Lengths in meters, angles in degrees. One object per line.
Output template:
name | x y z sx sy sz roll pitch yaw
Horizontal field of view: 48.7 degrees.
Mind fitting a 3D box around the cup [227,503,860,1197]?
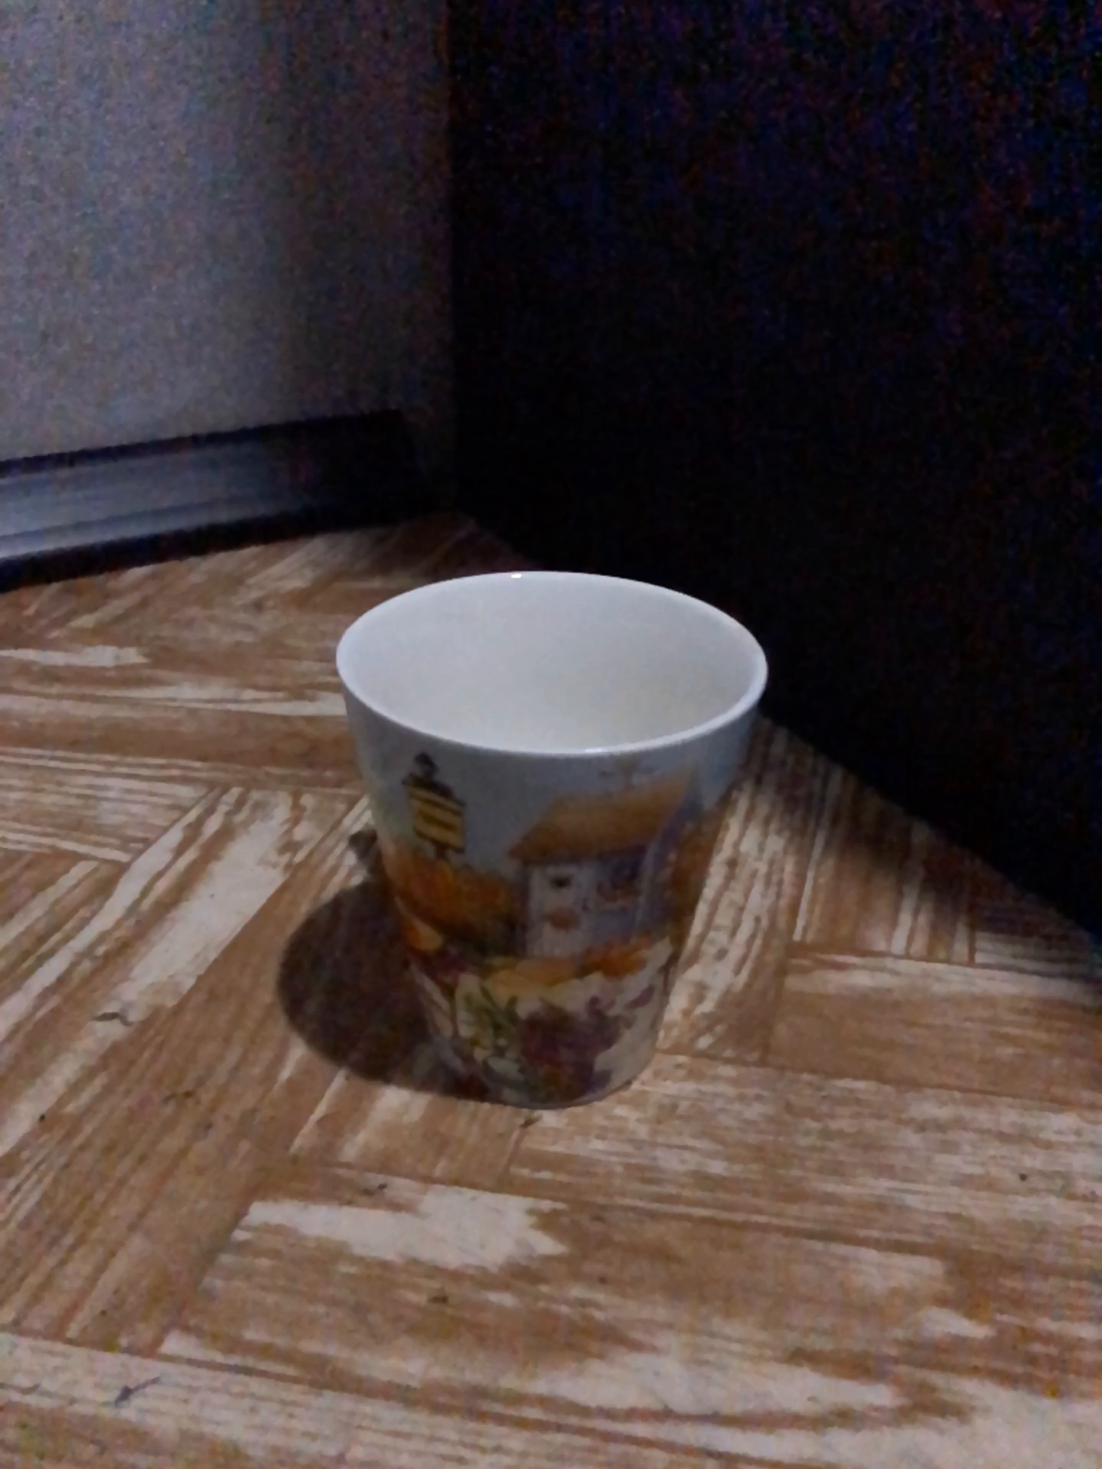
cup | -0.009 0.014 0.282 0.087 0.092 0.120 -15 32 -26
